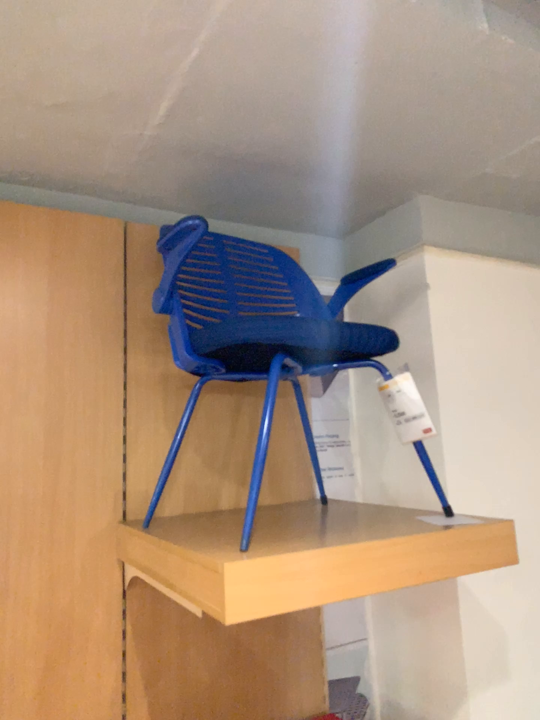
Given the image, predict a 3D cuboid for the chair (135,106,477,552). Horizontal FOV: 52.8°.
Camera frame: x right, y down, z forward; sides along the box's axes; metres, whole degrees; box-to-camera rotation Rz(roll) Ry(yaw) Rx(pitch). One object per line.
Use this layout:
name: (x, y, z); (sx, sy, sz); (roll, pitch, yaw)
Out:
chair: (0.047, -0.026, 1.326); (0.570, 0.792, 0.549); (3, -11, -34)
